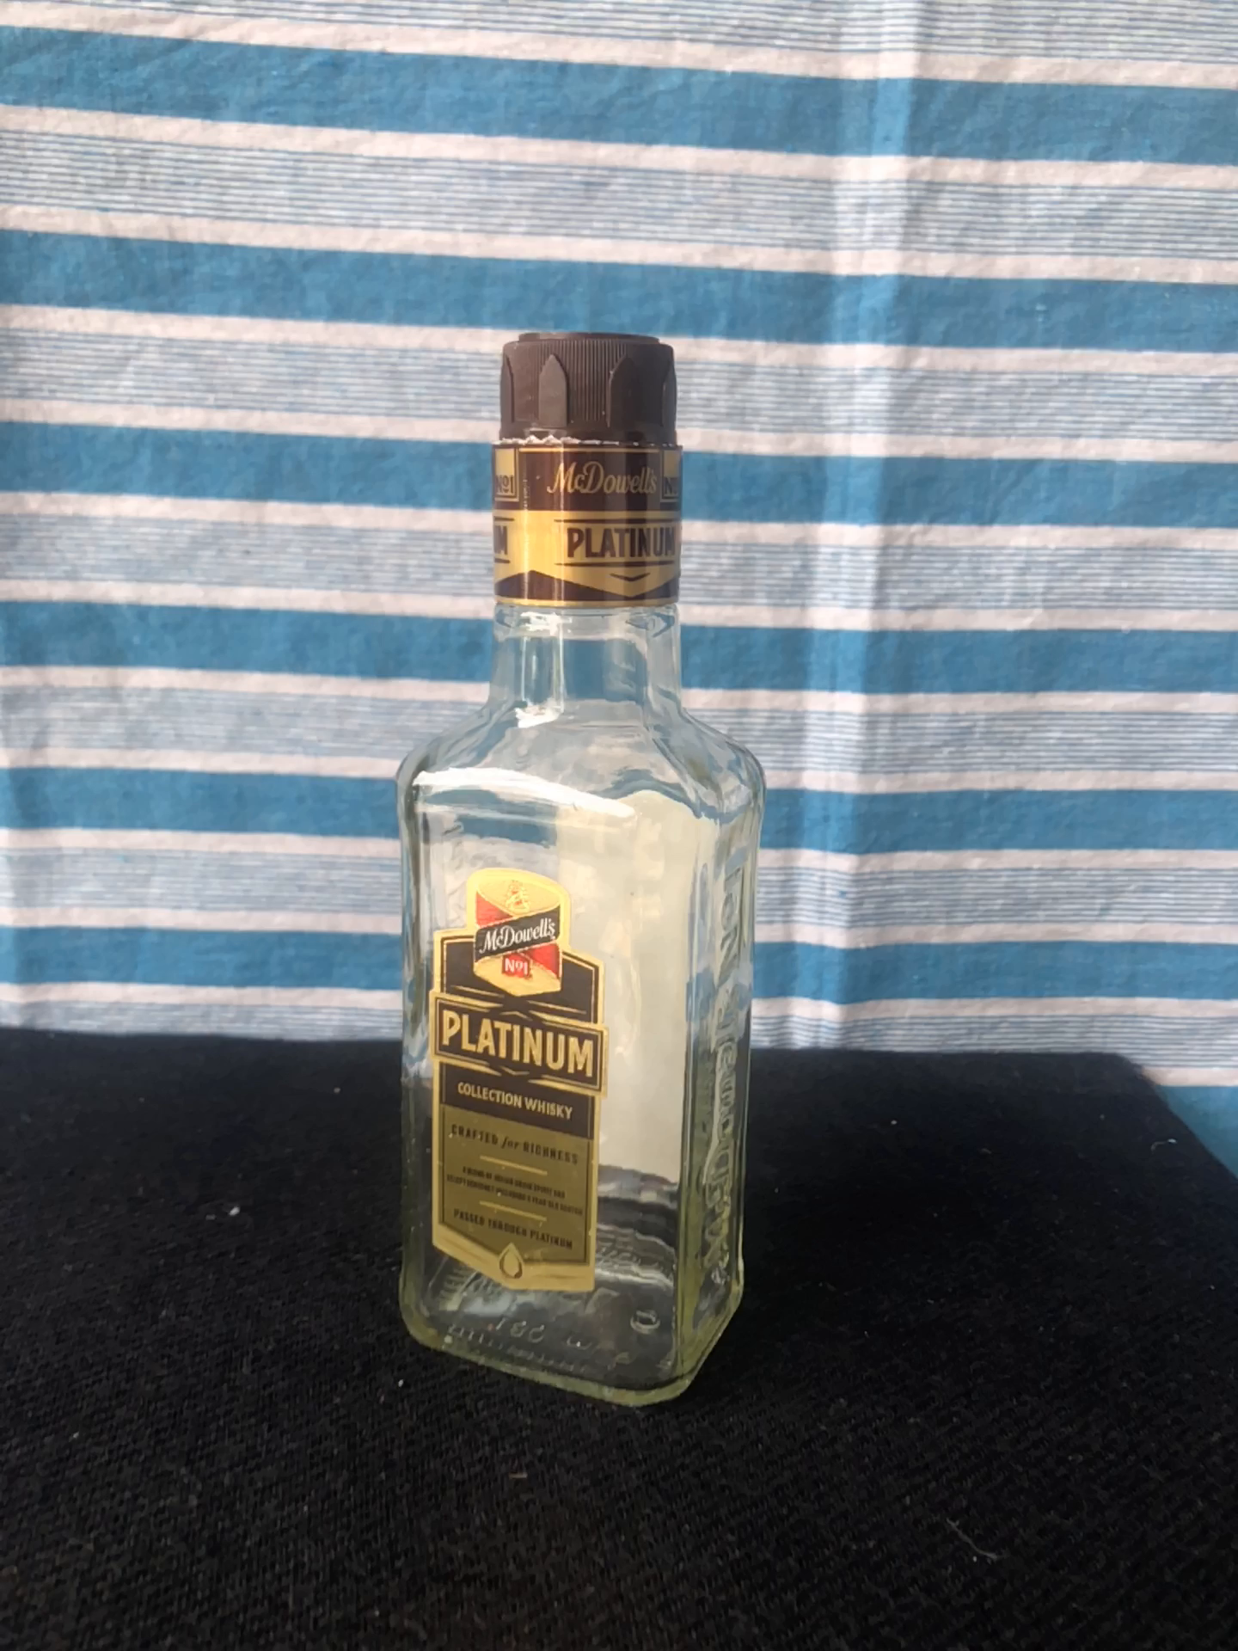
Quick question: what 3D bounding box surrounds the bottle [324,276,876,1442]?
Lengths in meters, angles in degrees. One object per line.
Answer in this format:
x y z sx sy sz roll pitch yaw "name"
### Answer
-0.005 0.004 0.199 0.060 0.149 0.040 9 17 18 "bottle"
